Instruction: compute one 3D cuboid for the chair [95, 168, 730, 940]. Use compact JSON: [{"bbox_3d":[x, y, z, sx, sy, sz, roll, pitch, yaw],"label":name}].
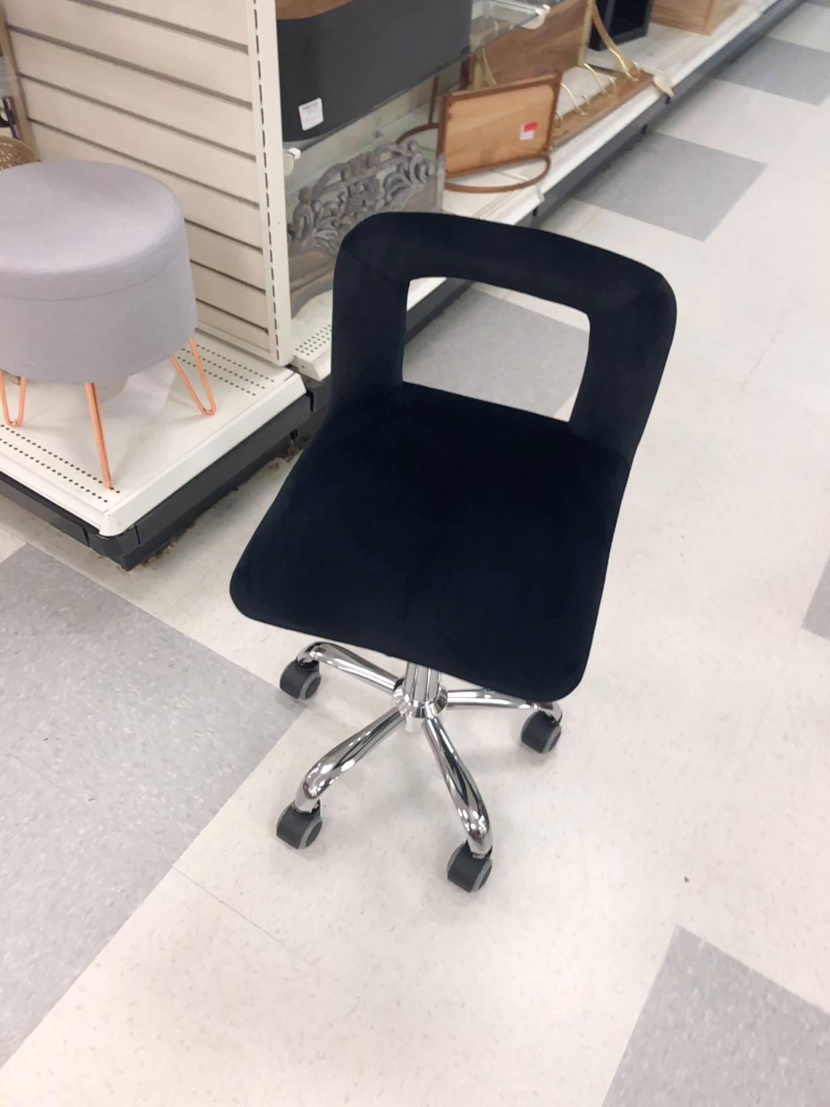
[{"bbox_3d":[0.020,0.023,1.093,0.461,0.693,0.487,15,48,9],"label":"chair"}]
